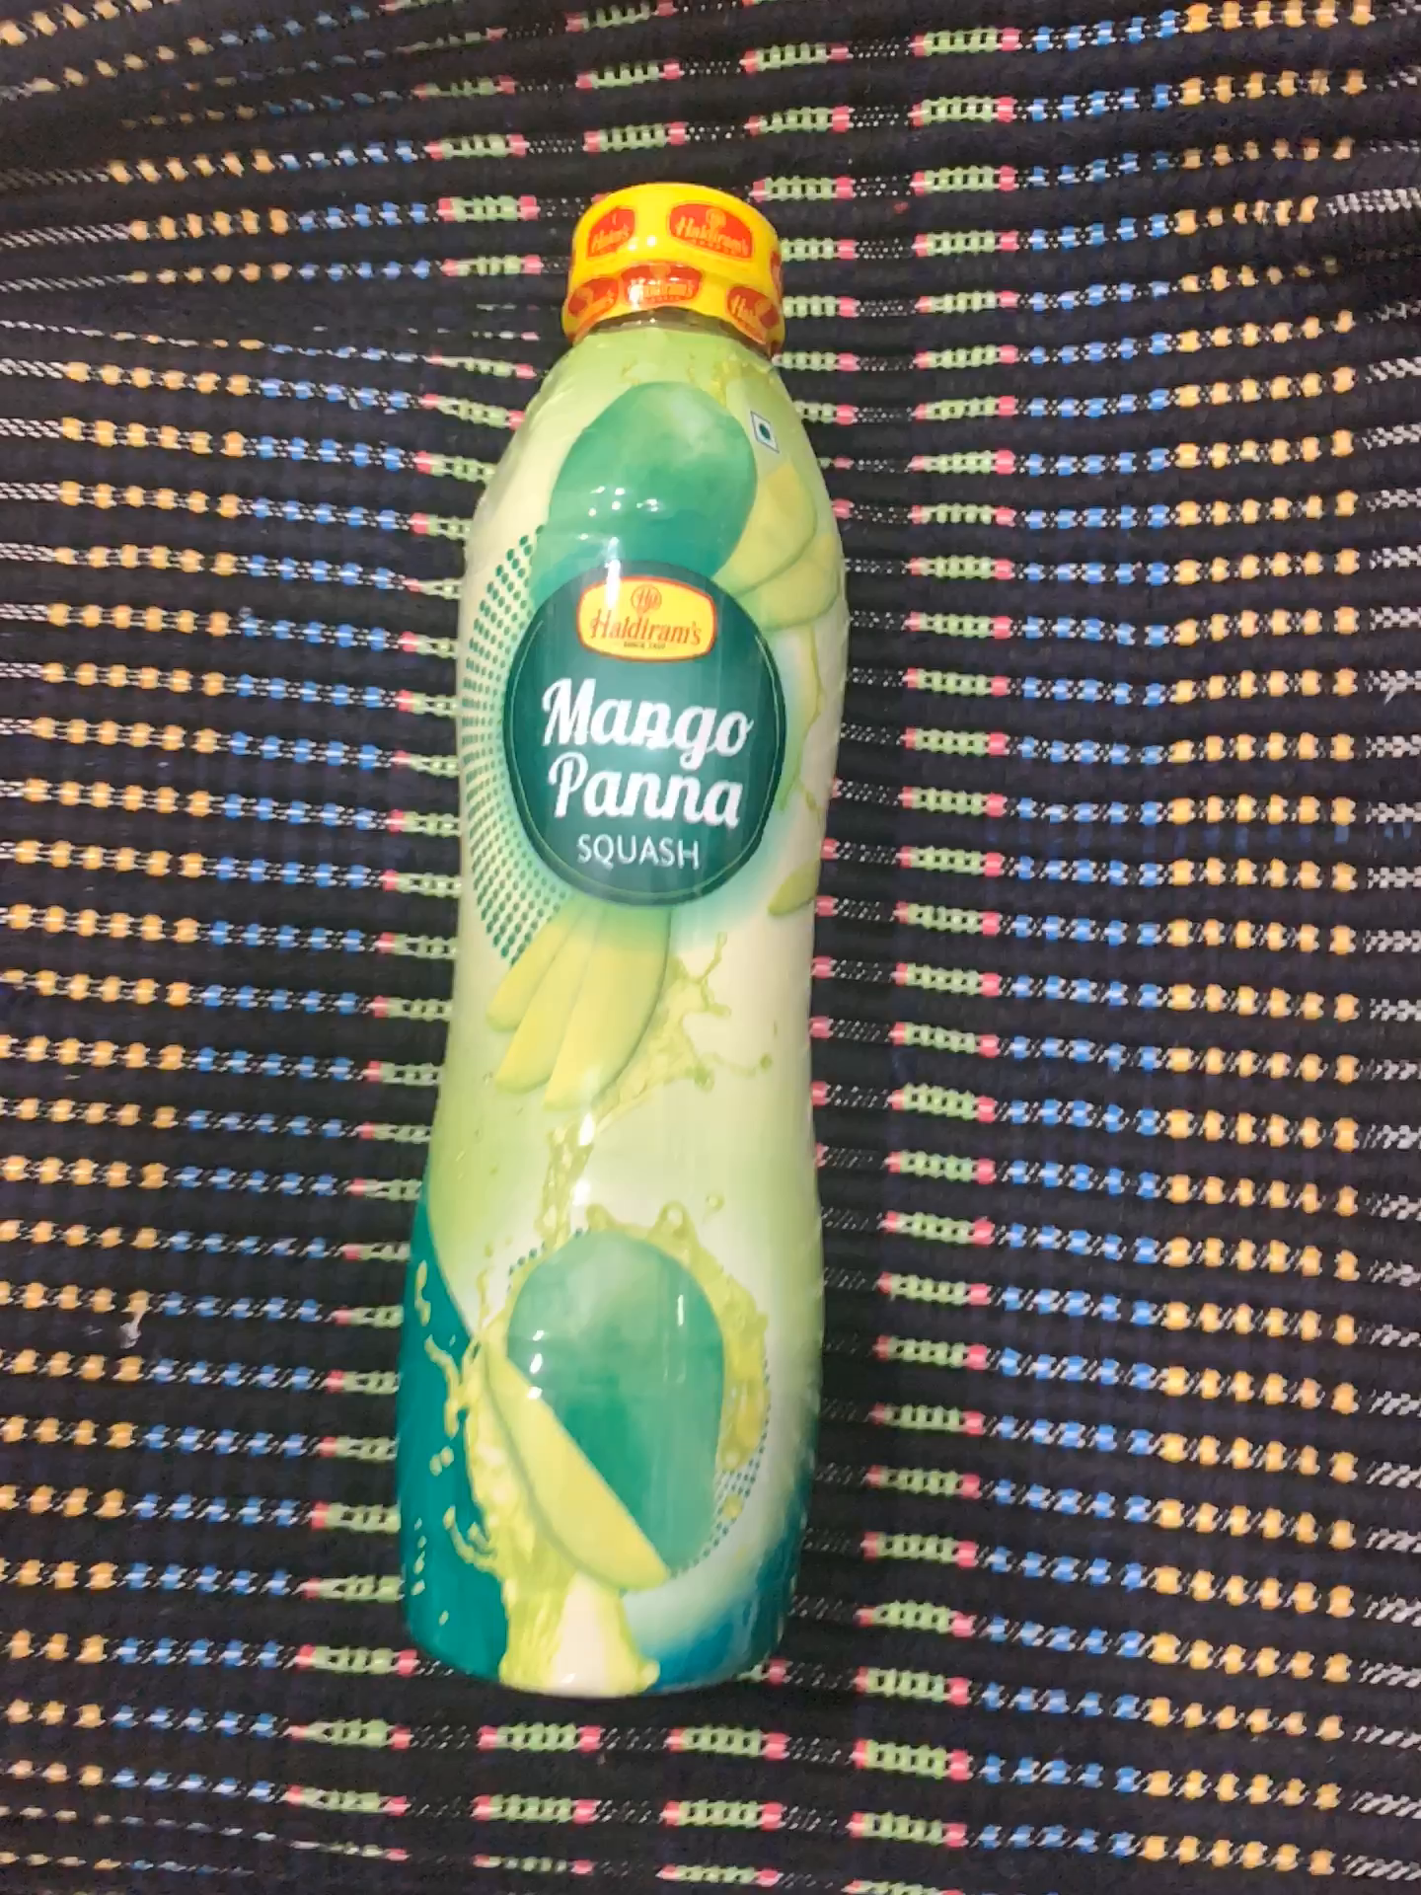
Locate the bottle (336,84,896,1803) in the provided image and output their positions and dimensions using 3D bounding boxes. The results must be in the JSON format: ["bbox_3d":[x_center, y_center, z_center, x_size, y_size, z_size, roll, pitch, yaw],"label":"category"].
[{"bbox_3d":[-0.013,-0.007,0.257,0.070,0.050,0.270,4,81,-5],"label":"bottle"}]
